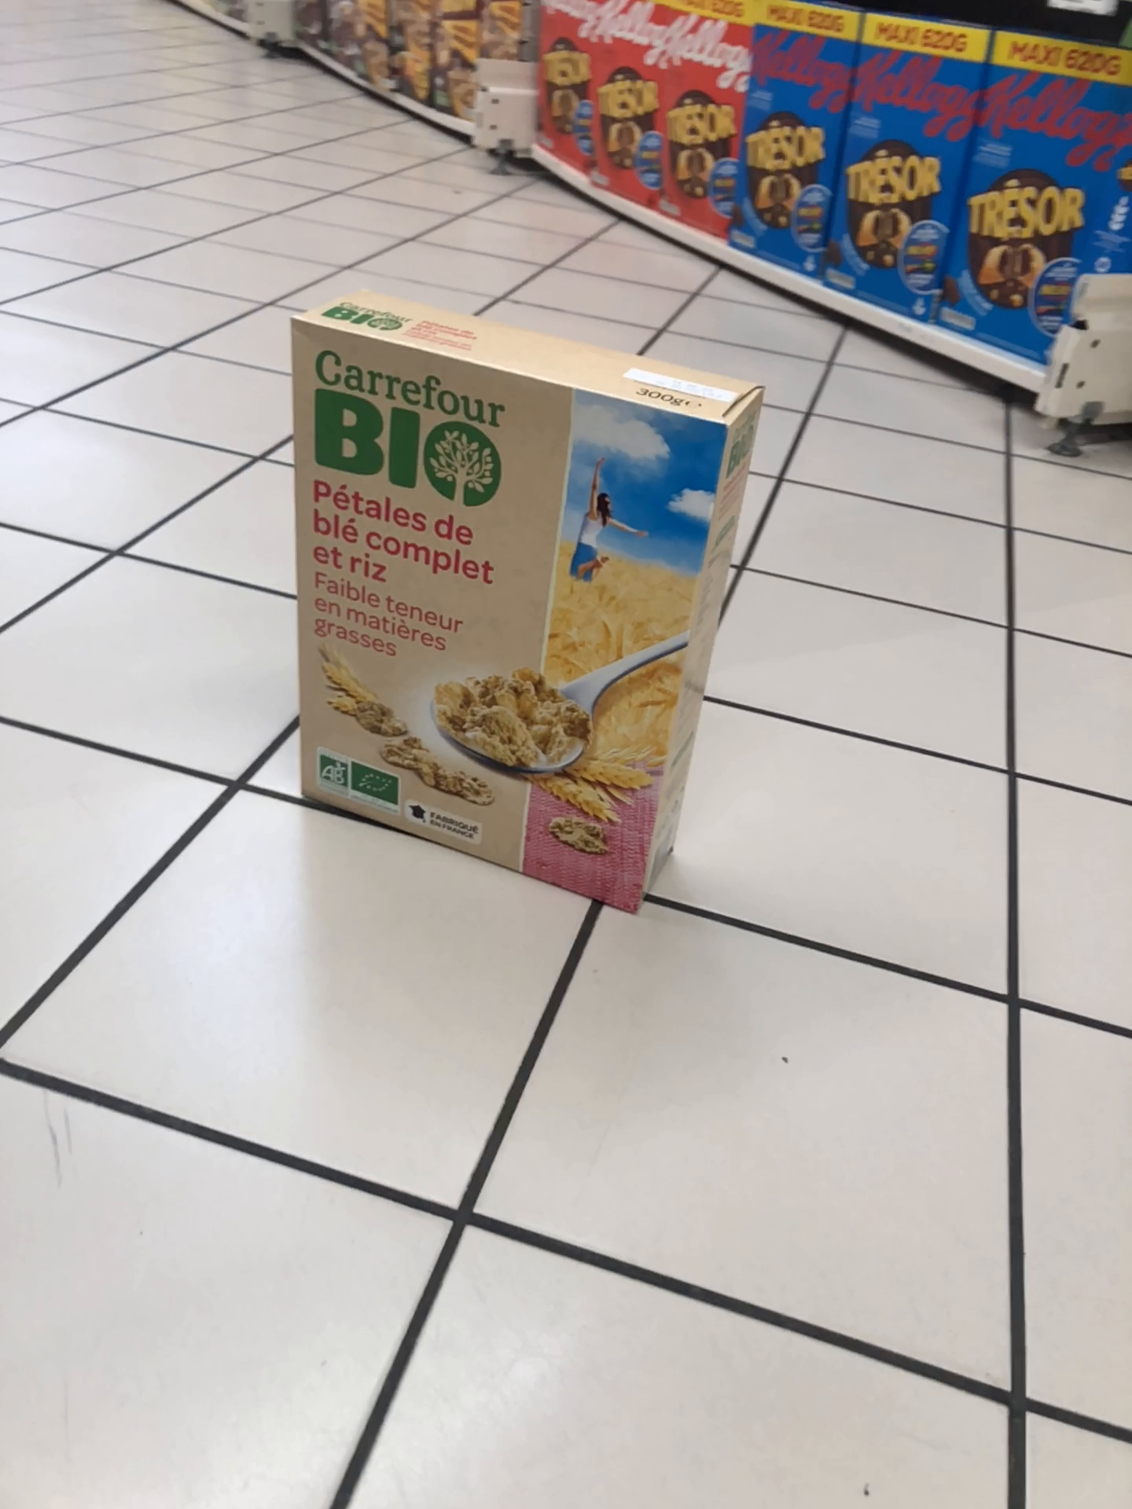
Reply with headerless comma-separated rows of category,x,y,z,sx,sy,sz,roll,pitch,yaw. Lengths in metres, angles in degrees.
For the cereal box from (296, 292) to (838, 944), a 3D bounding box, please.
cereal box,-0.013,-0.062,0.577,0.210,0.238,0.081,19,35,16
